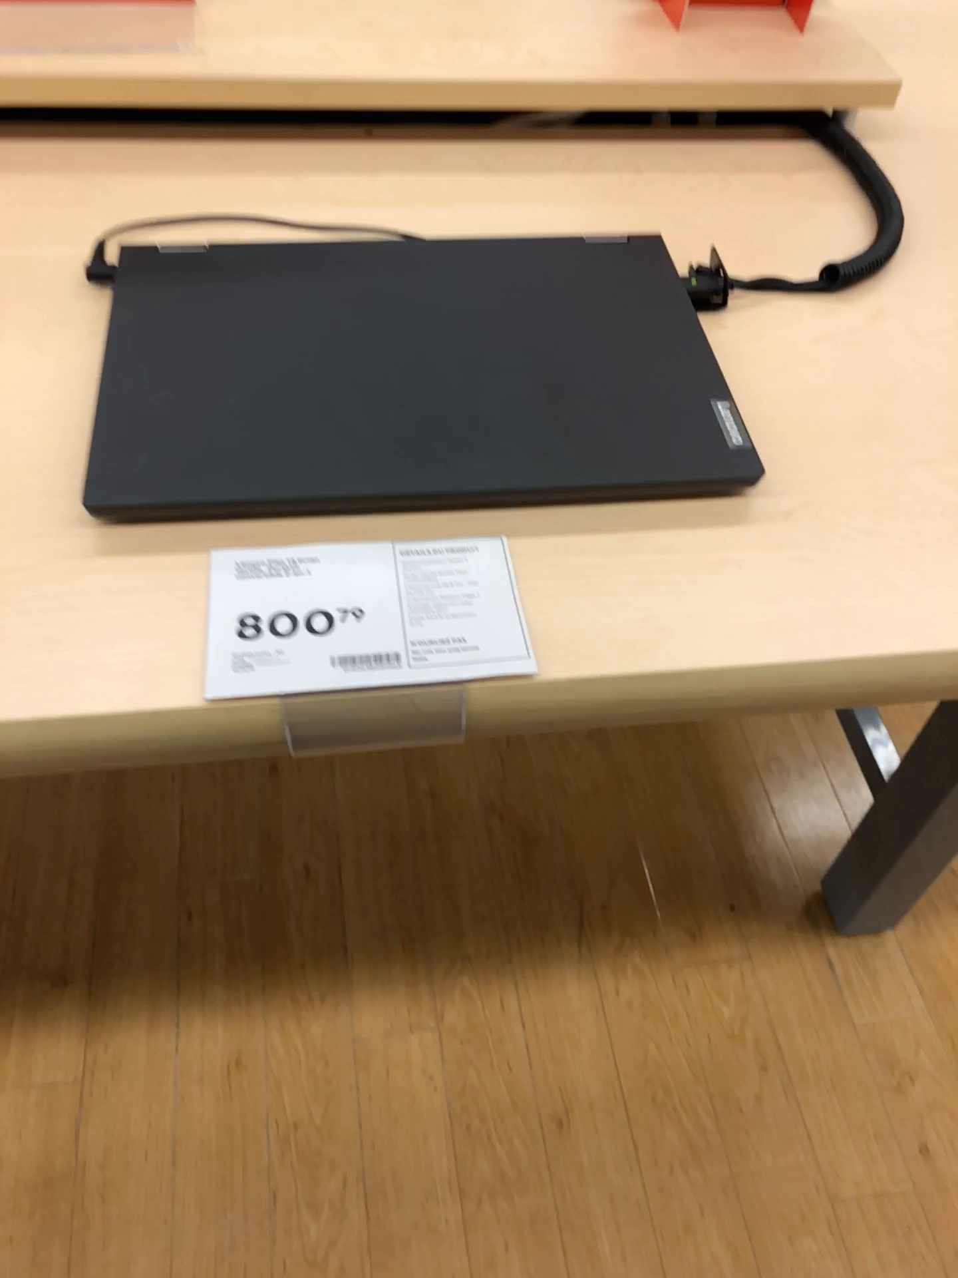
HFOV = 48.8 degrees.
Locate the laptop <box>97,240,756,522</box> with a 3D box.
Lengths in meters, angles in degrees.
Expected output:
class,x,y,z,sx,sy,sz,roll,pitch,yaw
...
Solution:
class,x,y,z,sx,sy,sz,roll,pitch,yaw
laptop,-0.031,-0.154,0.584,0.326,0.009,0.212,-4,53,-9
